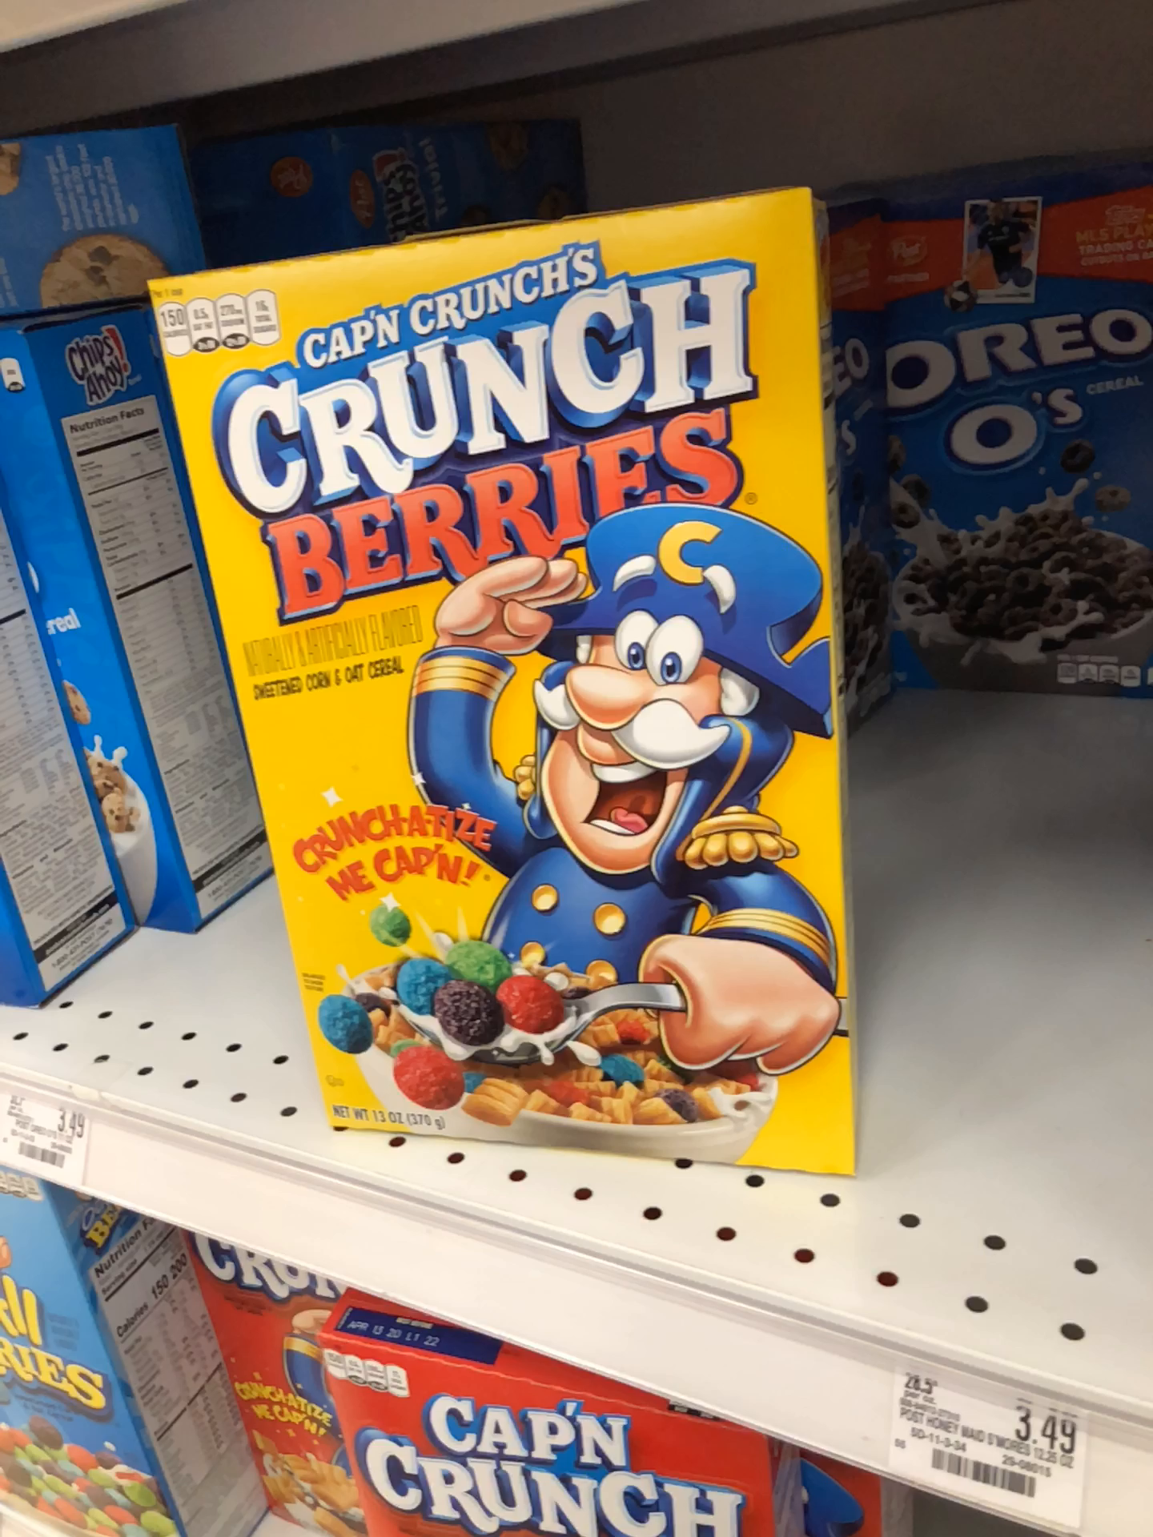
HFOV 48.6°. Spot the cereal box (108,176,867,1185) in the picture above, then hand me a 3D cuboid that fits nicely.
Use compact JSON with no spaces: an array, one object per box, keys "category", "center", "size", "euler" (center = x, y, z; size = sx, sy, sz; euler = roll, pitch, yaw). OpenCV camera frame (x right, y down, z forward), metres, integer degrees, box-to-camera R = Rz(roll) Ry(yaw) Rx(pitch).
[{"category":"cereal box","center":[-0.017,-0.016,0.412],"size":[0.200,0.289,0.060],"euler":[0,20,19]}]
